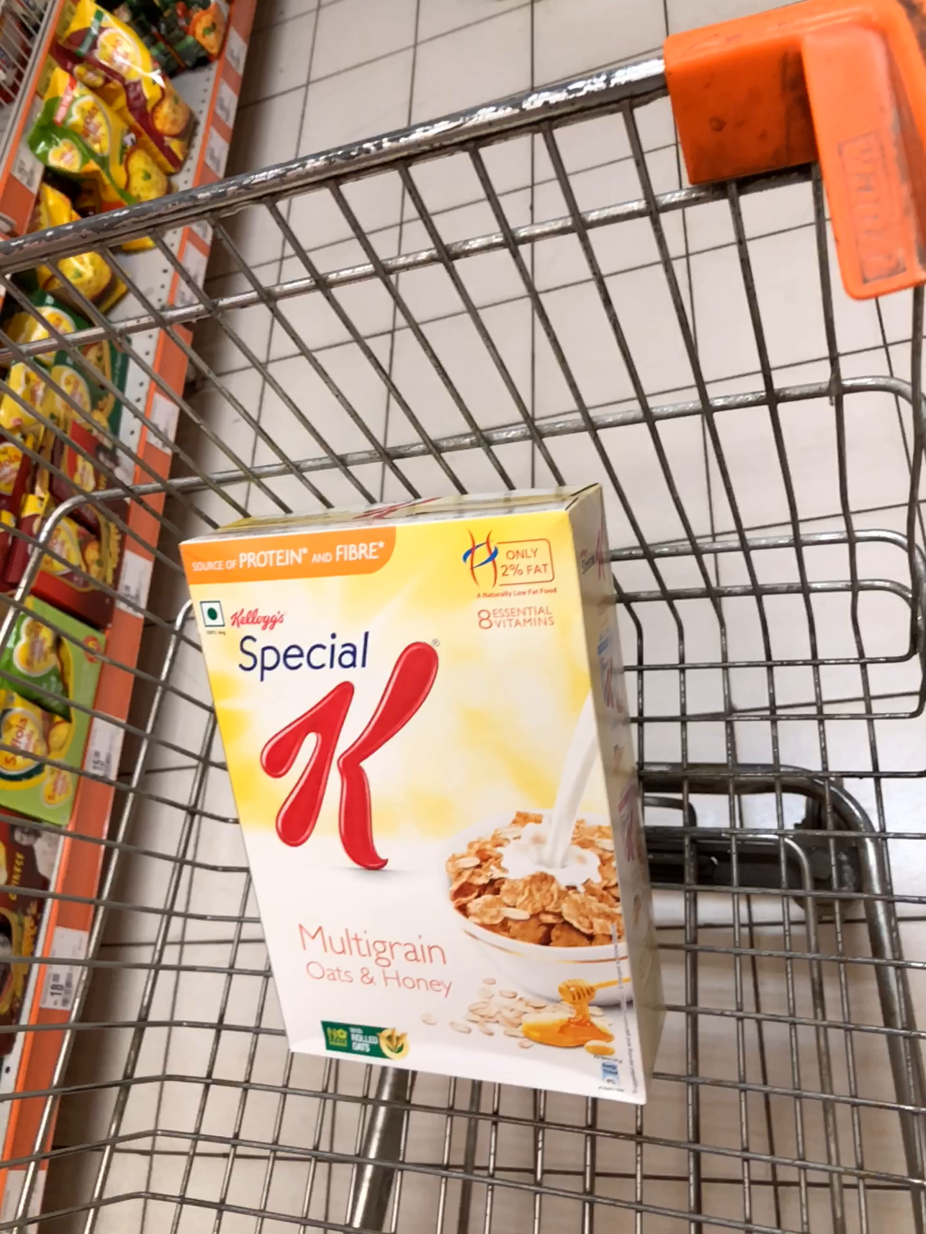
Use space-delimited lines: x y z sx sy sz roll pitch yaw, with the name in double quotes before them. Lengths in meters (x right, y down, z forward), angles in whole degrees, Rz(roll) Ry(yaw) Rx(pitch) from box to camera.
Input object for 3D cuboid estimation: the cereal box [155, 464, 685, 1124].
"cereal box" -0.011 0.078 0.482 0.190 0.090 0.269 -3 105 23
